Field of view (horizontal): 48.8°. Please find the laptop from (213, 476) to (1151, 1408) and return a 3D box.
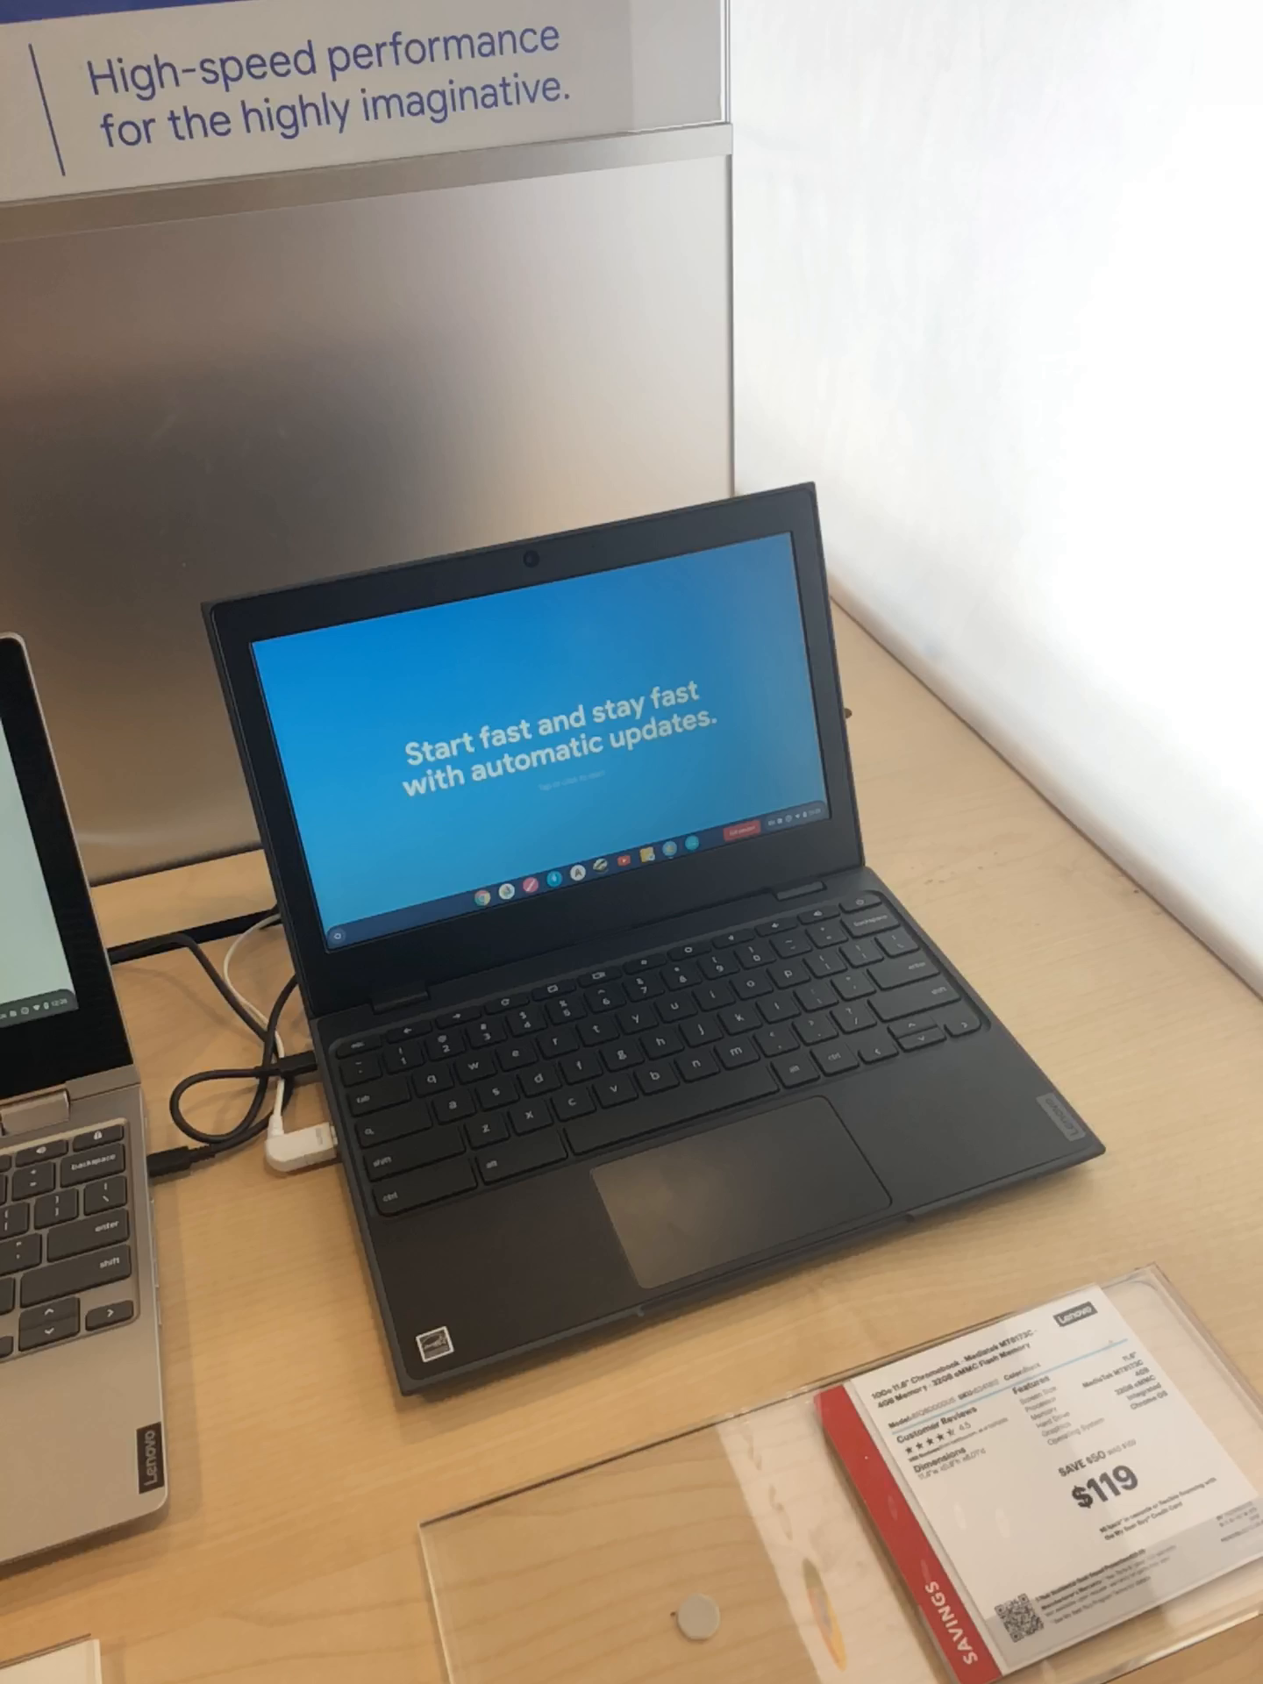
[{"bbox_3d":[0.001,0.010,0.571,0.281,0.178,0.272,-15,37,-14],"label":"laptop"}]
